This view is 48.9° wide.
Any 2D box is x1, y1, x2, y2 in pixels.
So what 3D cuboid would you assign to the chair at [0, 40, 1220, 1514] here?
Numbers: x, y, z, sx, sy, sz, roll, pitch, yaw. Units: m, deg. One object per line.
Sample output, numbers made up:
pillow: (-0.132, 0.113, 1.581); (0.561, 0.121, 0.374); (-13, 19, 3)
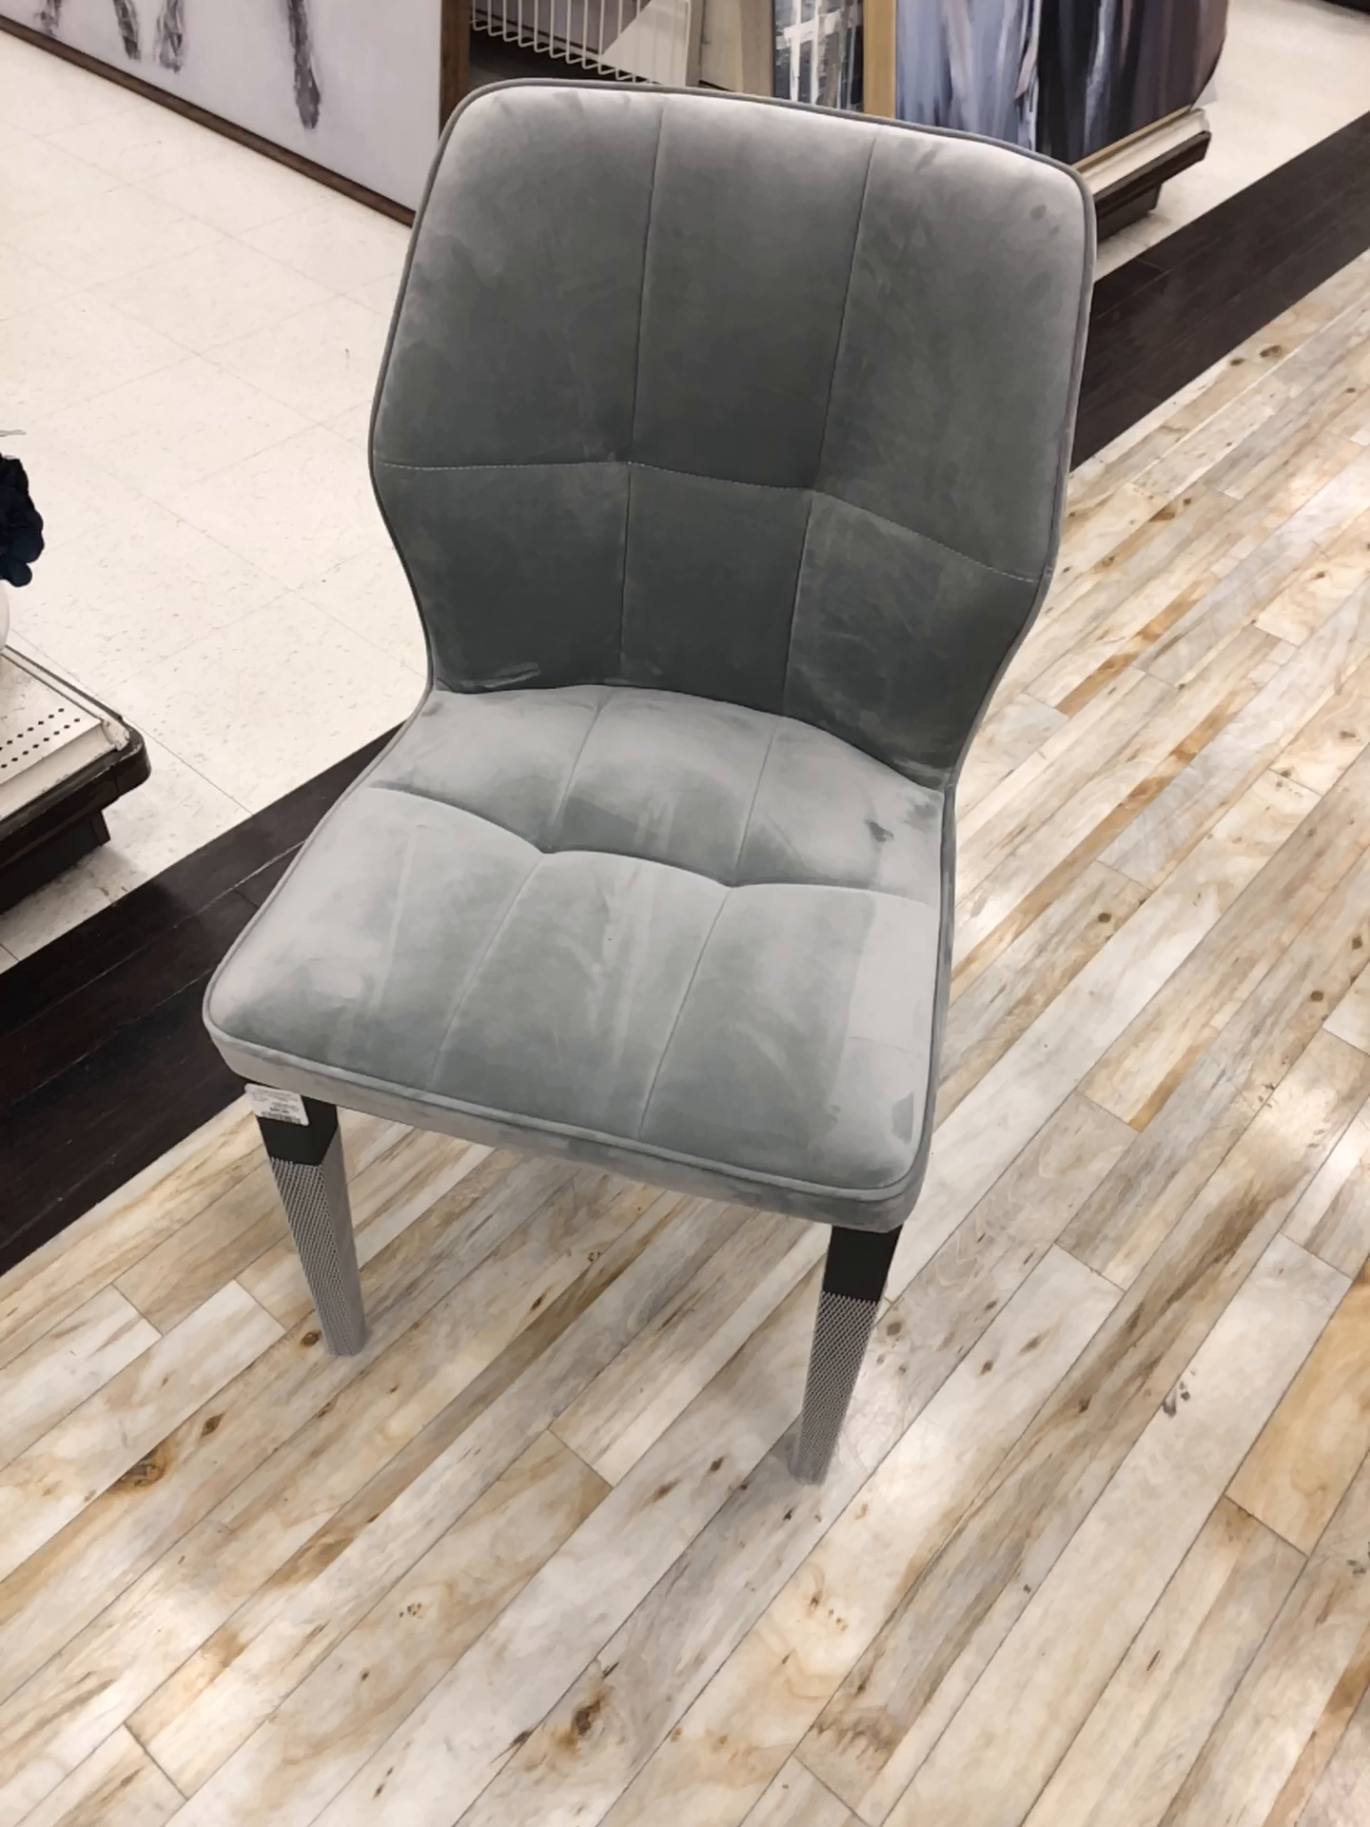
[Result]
chair: (-0.005, -0.063, 1.125); (0.530, 0.837, 0.572); (13, 48, 8)
